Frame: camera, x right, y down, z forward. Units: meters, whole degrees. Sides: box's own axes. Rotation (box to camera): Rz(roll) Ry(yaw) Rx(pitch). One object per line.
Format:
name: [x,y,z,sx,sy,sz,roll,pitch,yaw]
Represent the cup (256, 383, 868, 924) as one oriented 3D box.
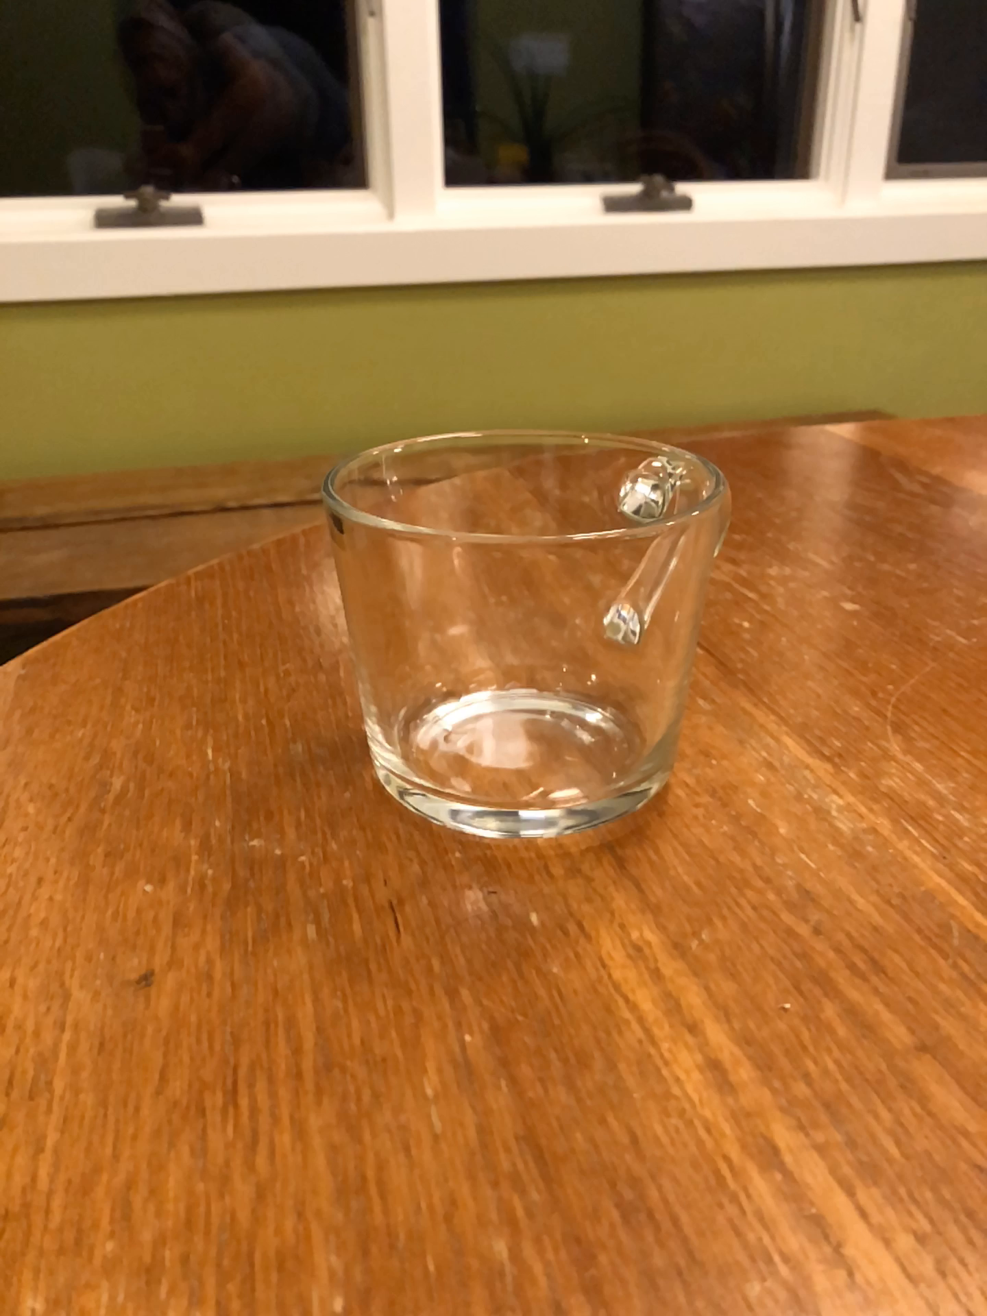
cup: [0.019,-0.014,0.297,0.120,0.089,0.100,-21,31,-37]
